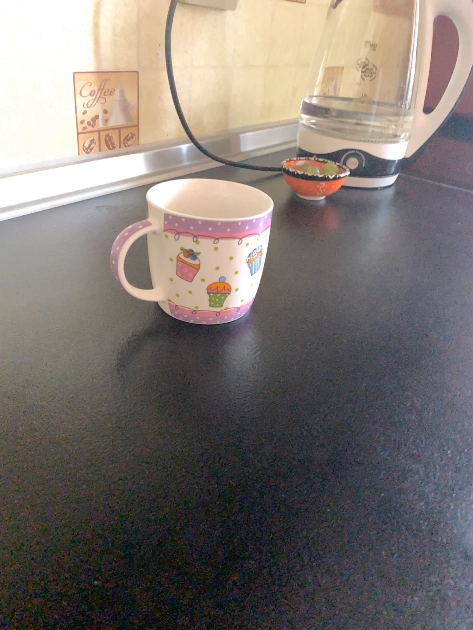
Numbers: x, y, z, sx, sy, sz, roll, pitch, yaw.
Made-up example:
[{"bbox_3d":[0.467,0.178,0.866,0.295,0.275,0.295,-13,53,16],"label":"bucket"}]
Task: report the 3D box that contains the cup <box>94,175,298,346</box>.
[{"bbox_3d":[-0.031,-0.044,0.336,0.110,0.080,0.080,-10,34,-26],"label":"cup"}]
